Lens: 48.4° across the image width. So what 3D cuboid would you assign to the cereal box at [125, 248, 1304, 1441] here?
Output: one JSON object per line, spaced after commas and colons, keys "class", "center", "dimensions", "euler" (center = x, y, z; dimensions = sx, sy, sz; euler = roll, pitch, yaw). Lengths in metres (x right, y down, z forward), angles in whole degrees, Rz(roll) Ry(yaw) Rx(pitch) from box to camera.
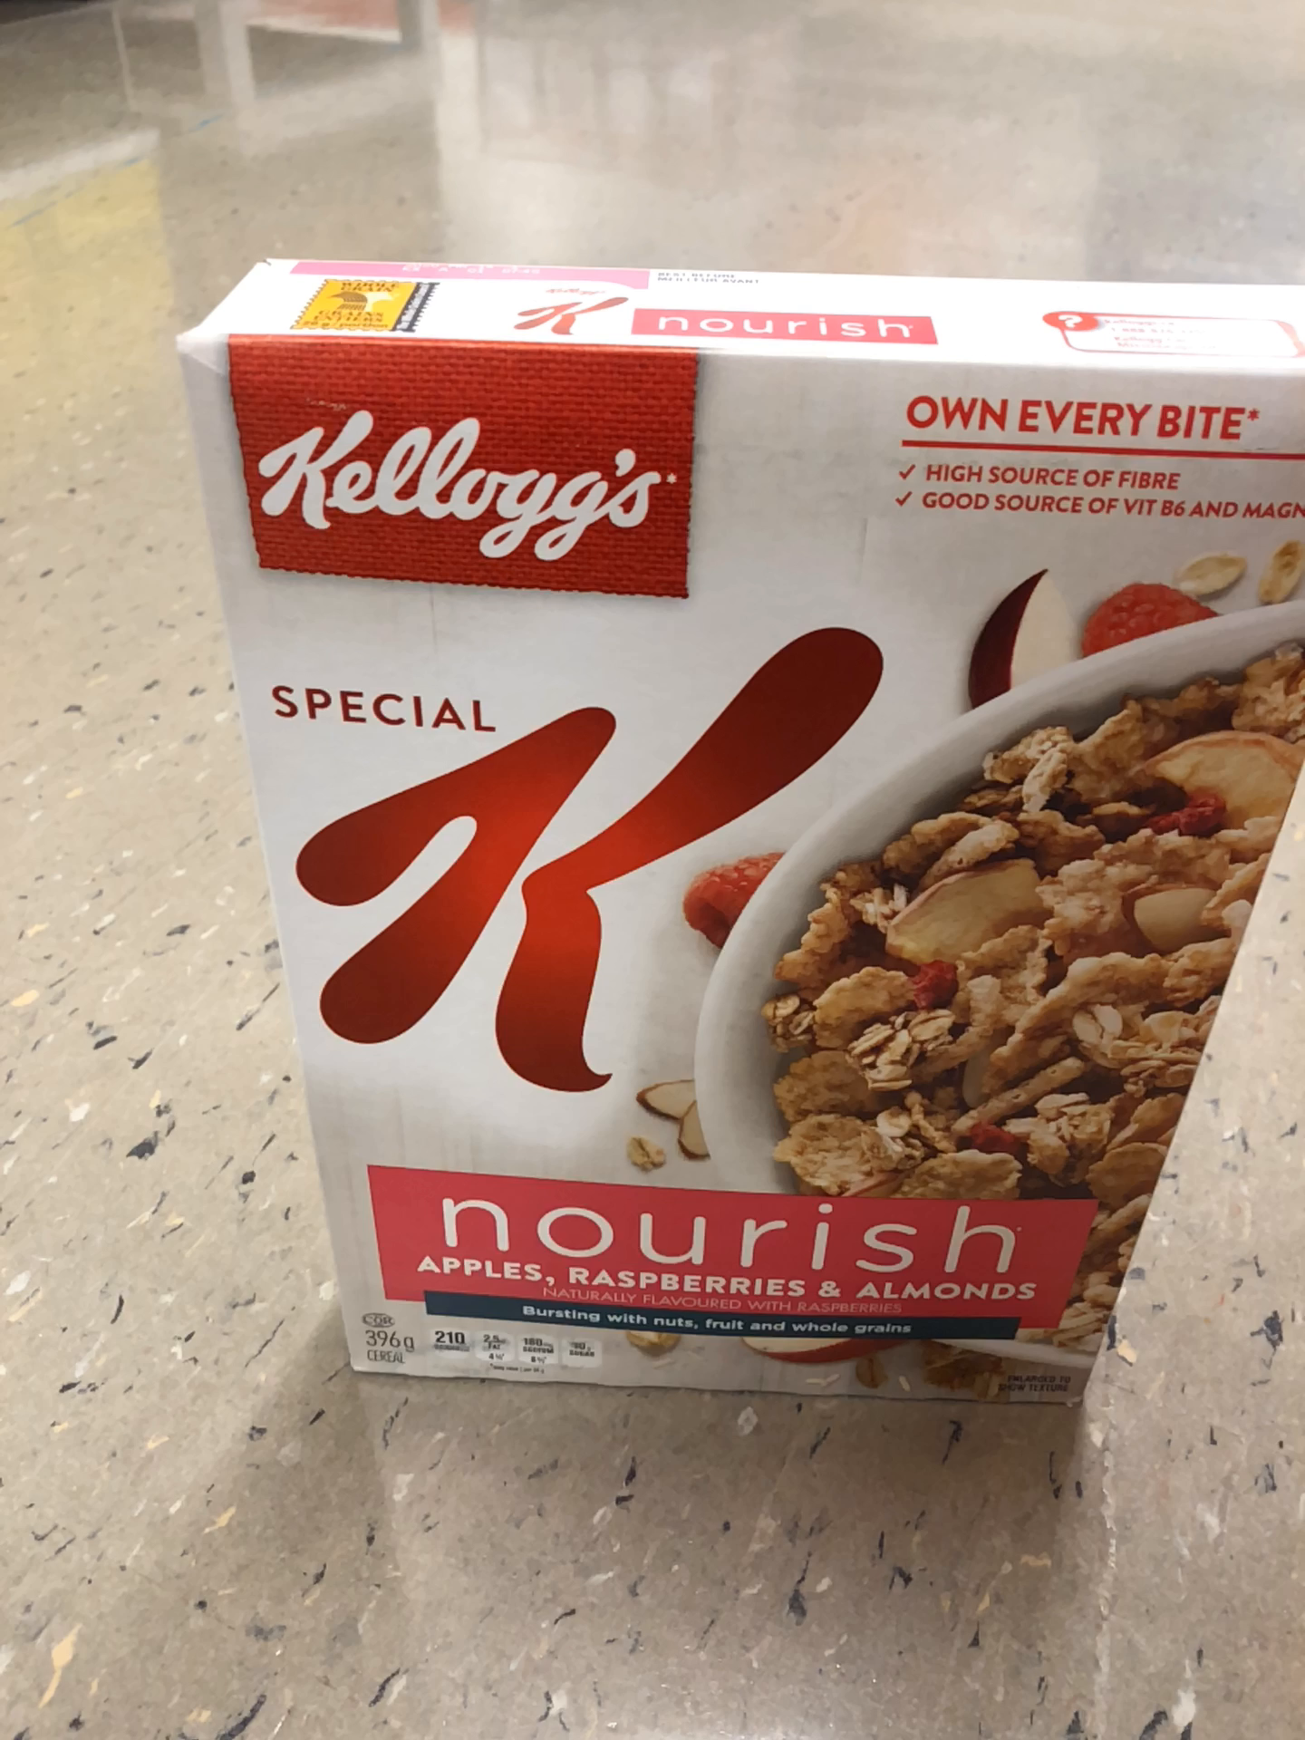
{"class": "cereal box", "center": [0.024, 0.023, 0.325], "dimensions": [0.210, 0.289, 0.050], "euler": [2, 39, 1]}
